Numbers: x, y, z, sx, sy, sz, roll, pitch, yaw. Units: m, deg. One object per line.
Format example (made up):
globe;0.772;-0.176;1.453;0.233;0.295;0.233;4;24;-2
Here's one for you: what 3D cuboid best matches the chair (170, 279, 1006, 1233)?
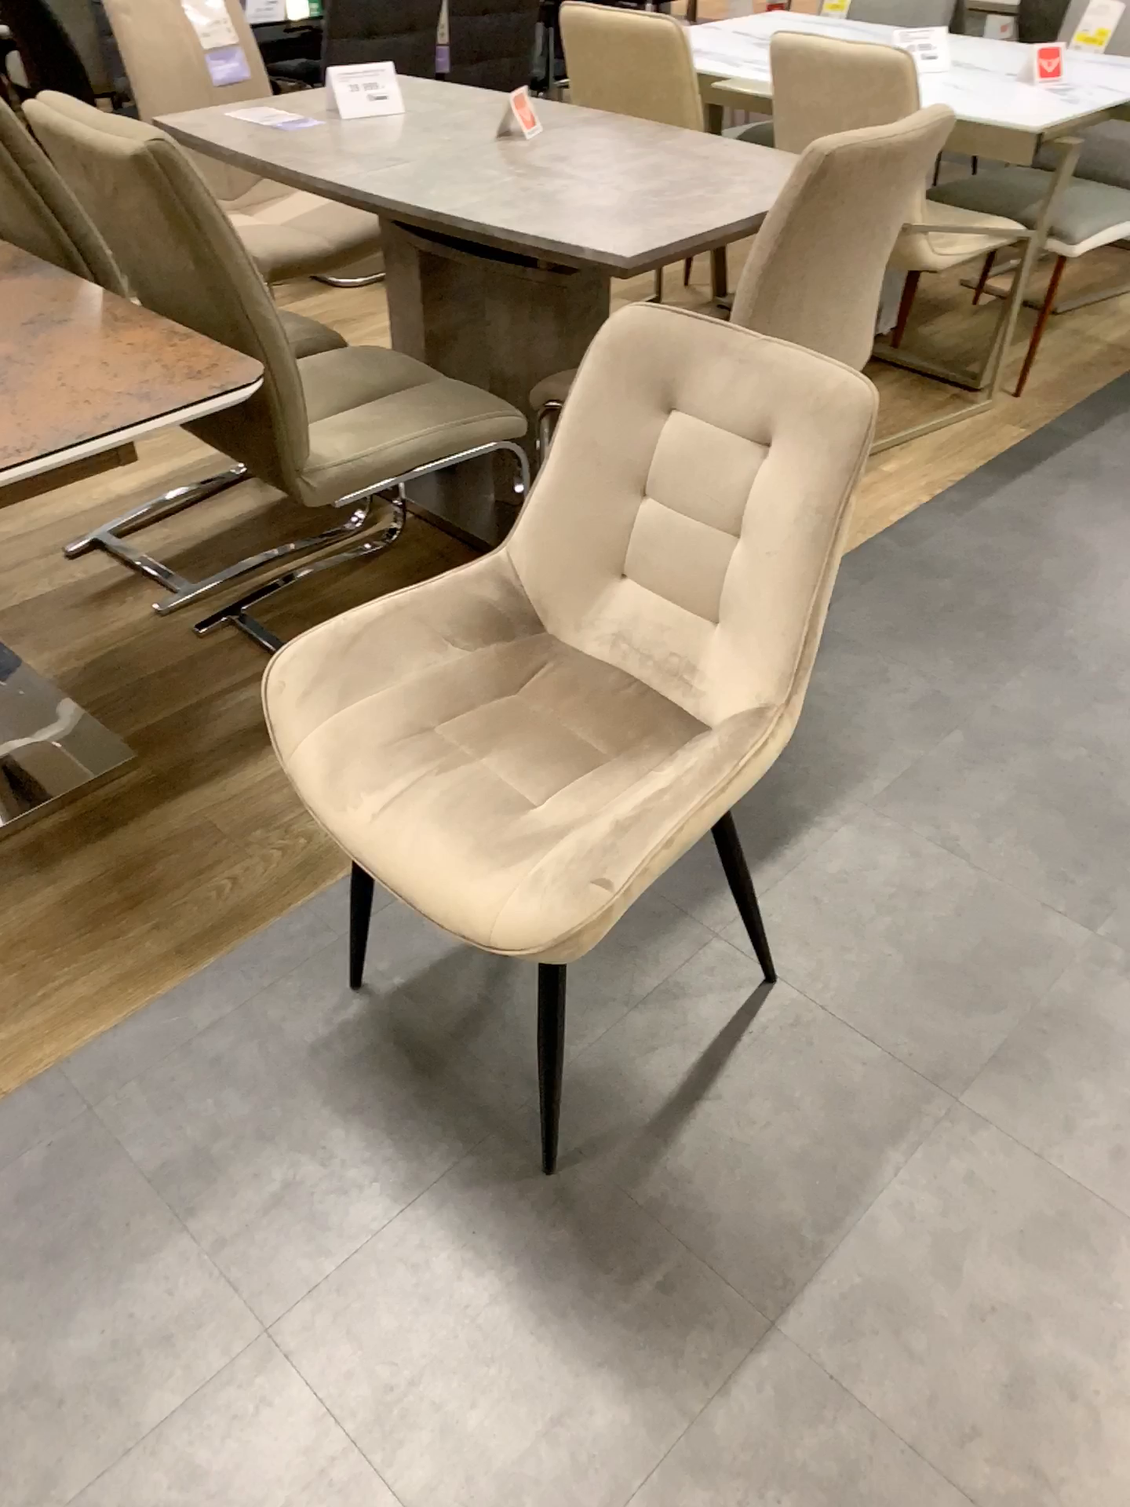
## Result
chair;0.025;-0.024;1.406;0.612;0.817;0.568;-31;48;-32
